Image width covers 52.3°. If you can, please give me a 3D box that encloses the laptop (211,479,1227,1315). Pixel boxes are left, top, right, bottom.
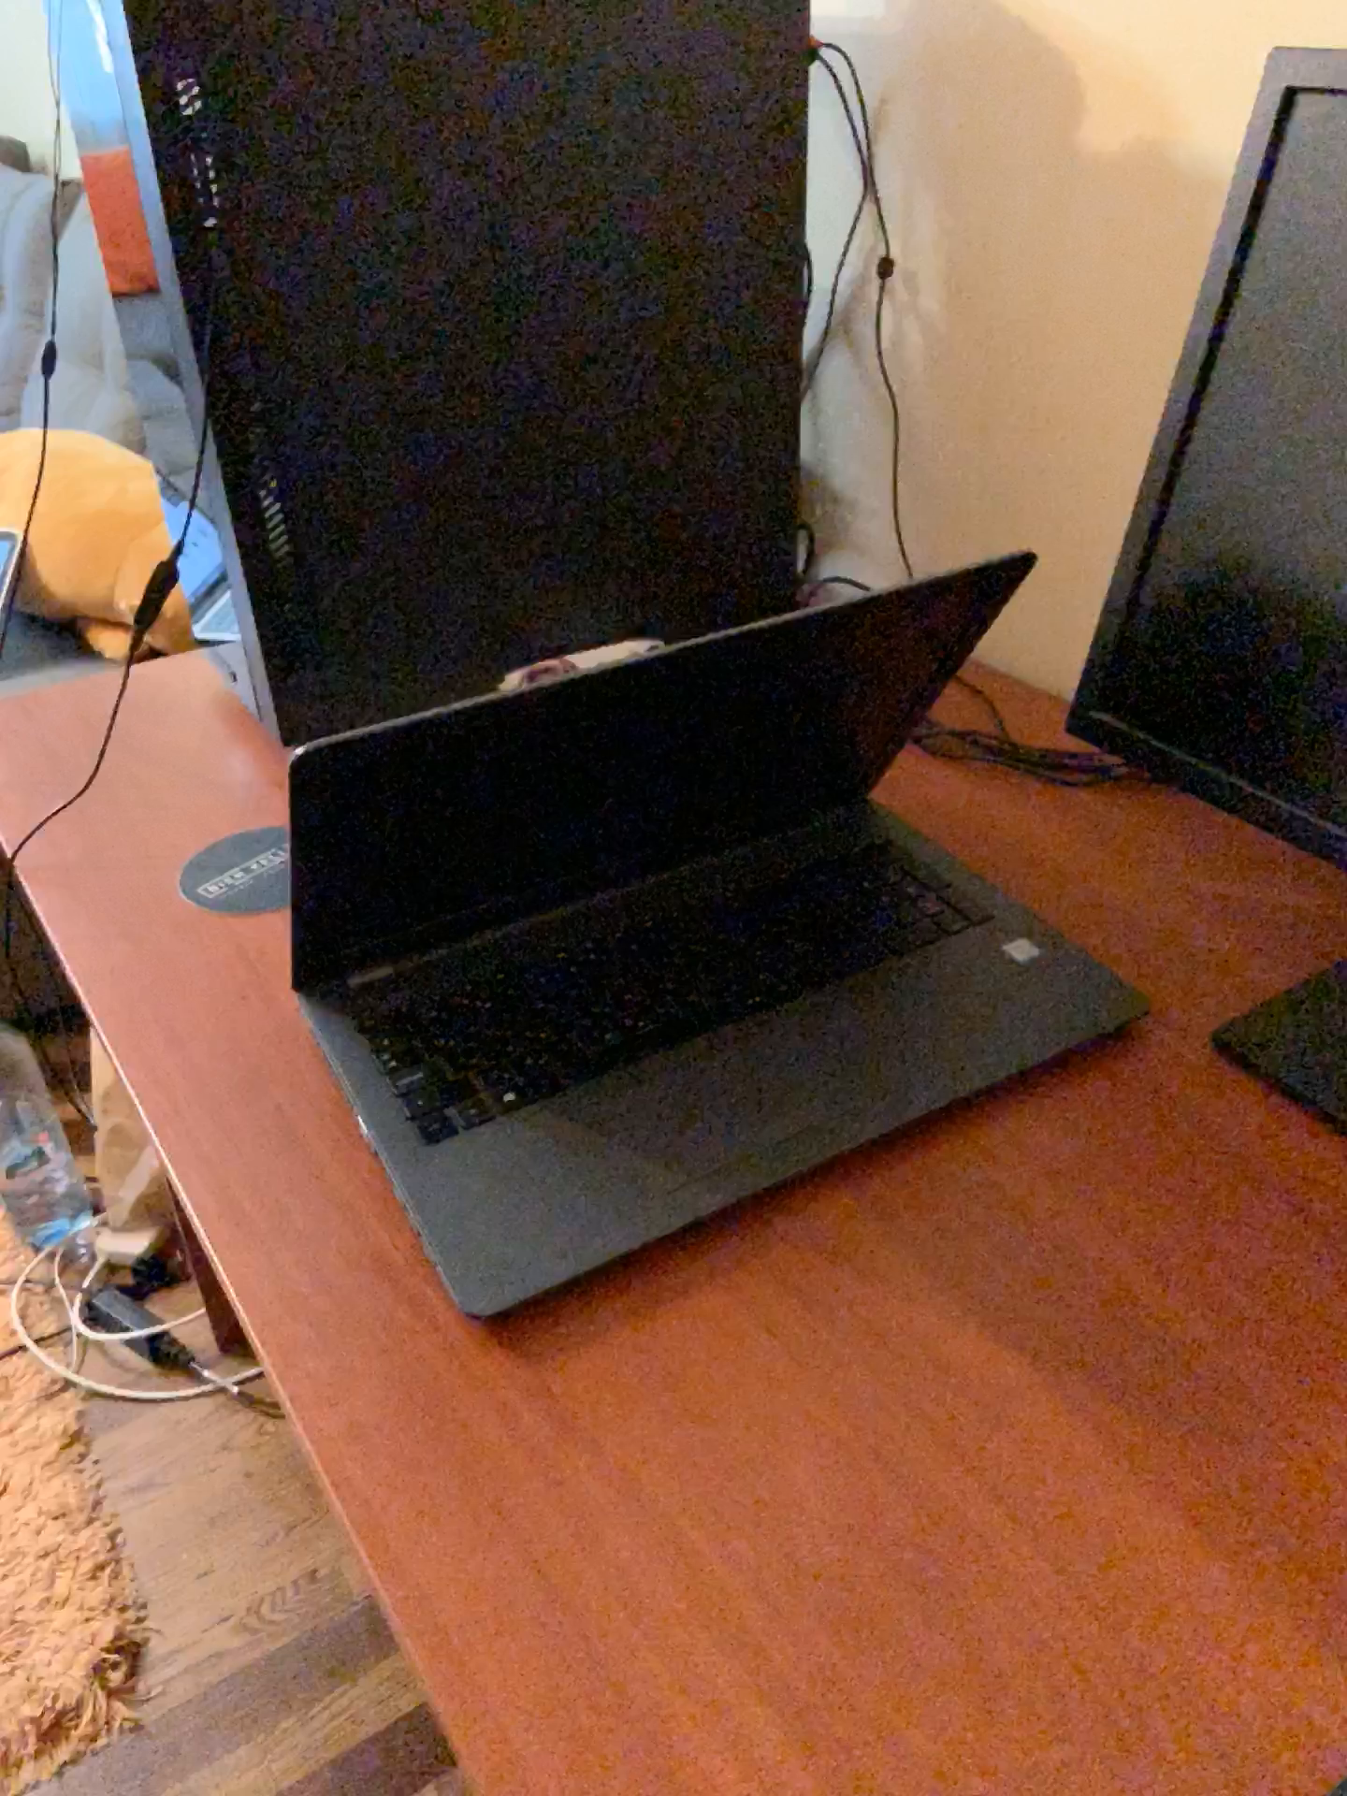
[{"bbox_3d":[0.016,-0.033,0.663,0.374,0.207,0.250,-19,37,-23],"label":"laptop"}]
